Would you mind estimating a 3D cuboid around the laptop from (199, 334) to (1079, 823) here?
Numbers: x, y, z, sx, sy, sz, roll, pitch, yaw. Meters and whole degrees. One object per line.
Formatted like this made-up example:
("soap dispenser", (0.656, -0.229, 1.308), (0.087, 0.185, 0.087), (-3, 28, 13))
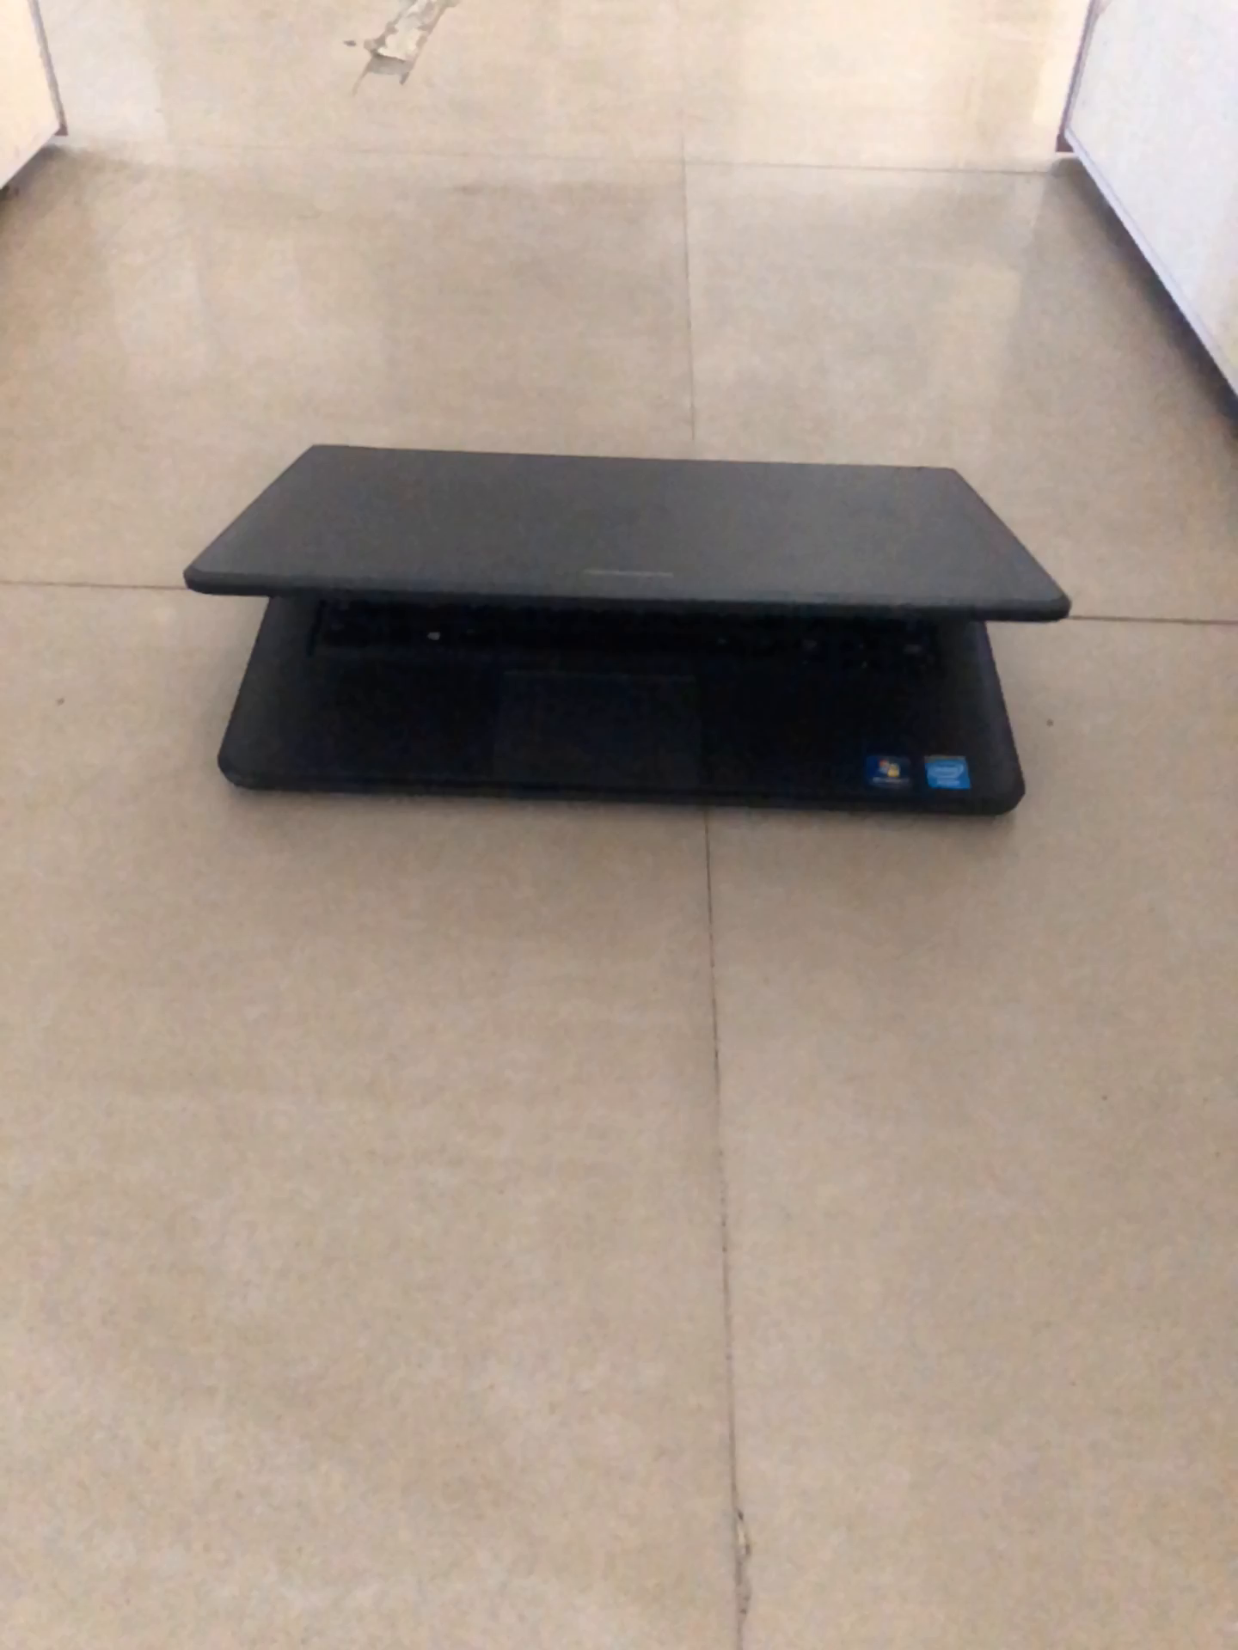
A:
("laptop", (0.012, -0.115, 0.581), (0.314, 0.064, 0.221), (3, 49, 2))
